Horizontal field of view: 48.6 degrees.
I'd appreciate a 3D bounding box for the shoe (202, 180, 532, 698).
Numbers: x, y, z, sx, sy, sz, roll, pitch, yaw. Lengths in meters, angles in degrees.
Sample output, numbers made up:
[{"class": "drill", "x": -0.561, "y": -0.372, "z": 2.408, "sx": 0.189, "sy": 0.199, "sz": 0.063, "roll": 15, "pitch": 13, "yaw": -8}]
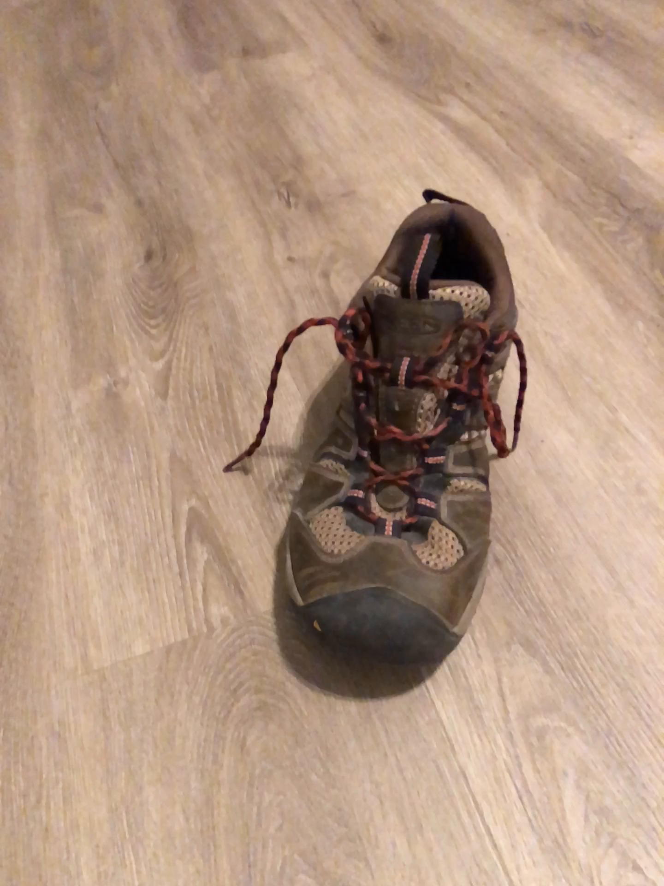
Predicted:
[{"class": "shoe", "x": 0.038, "y": -0.023, "z": 0.396, "sx": 0.110, "sy": 0.100, "sz": 0.271, "roll": 7, "pitch": 50, "yaw": 13}]
